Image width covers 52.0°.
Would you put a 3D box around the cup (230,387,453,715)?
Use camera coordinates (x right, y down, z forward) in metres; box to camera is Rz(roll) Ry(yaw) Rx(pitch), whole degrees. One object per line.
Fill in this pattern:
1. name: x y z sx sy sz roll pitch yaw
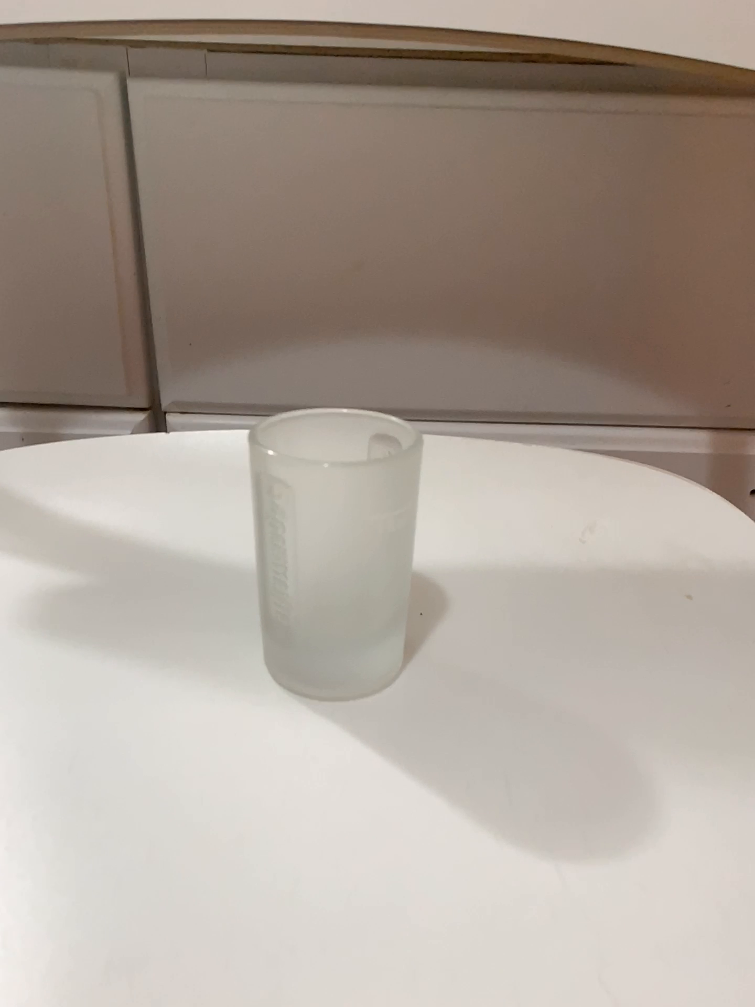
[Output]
1. cup: -0.009 0.012 0.206 0.049 0.075 0.042 0 25 -1
